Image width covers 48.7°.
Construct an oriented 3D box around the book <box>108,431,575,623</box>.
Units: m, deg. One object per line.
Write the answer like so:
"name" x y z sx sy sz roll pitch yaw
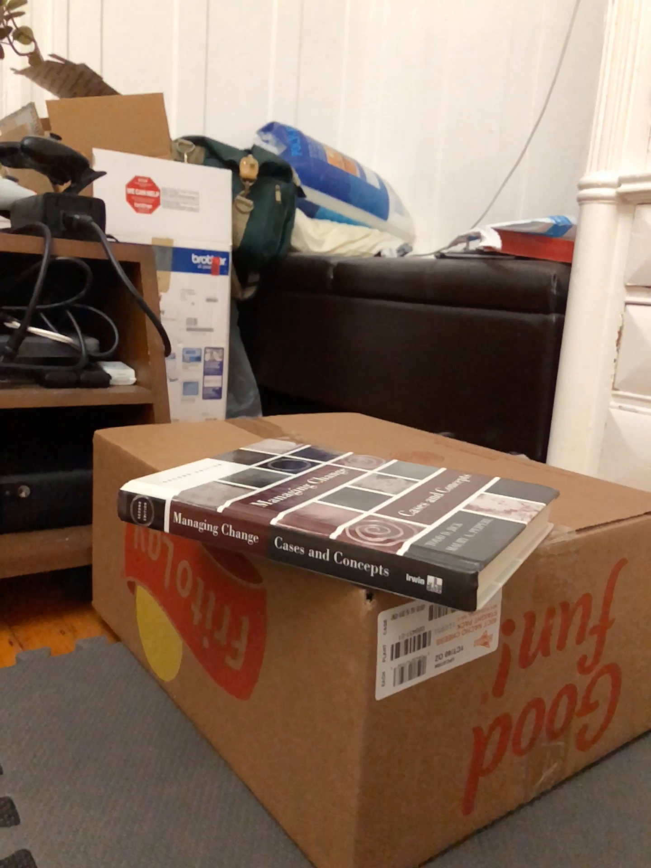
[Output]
"book" 0.016 0.043 0.472 0.250 0.030 0.180 10 13 28
